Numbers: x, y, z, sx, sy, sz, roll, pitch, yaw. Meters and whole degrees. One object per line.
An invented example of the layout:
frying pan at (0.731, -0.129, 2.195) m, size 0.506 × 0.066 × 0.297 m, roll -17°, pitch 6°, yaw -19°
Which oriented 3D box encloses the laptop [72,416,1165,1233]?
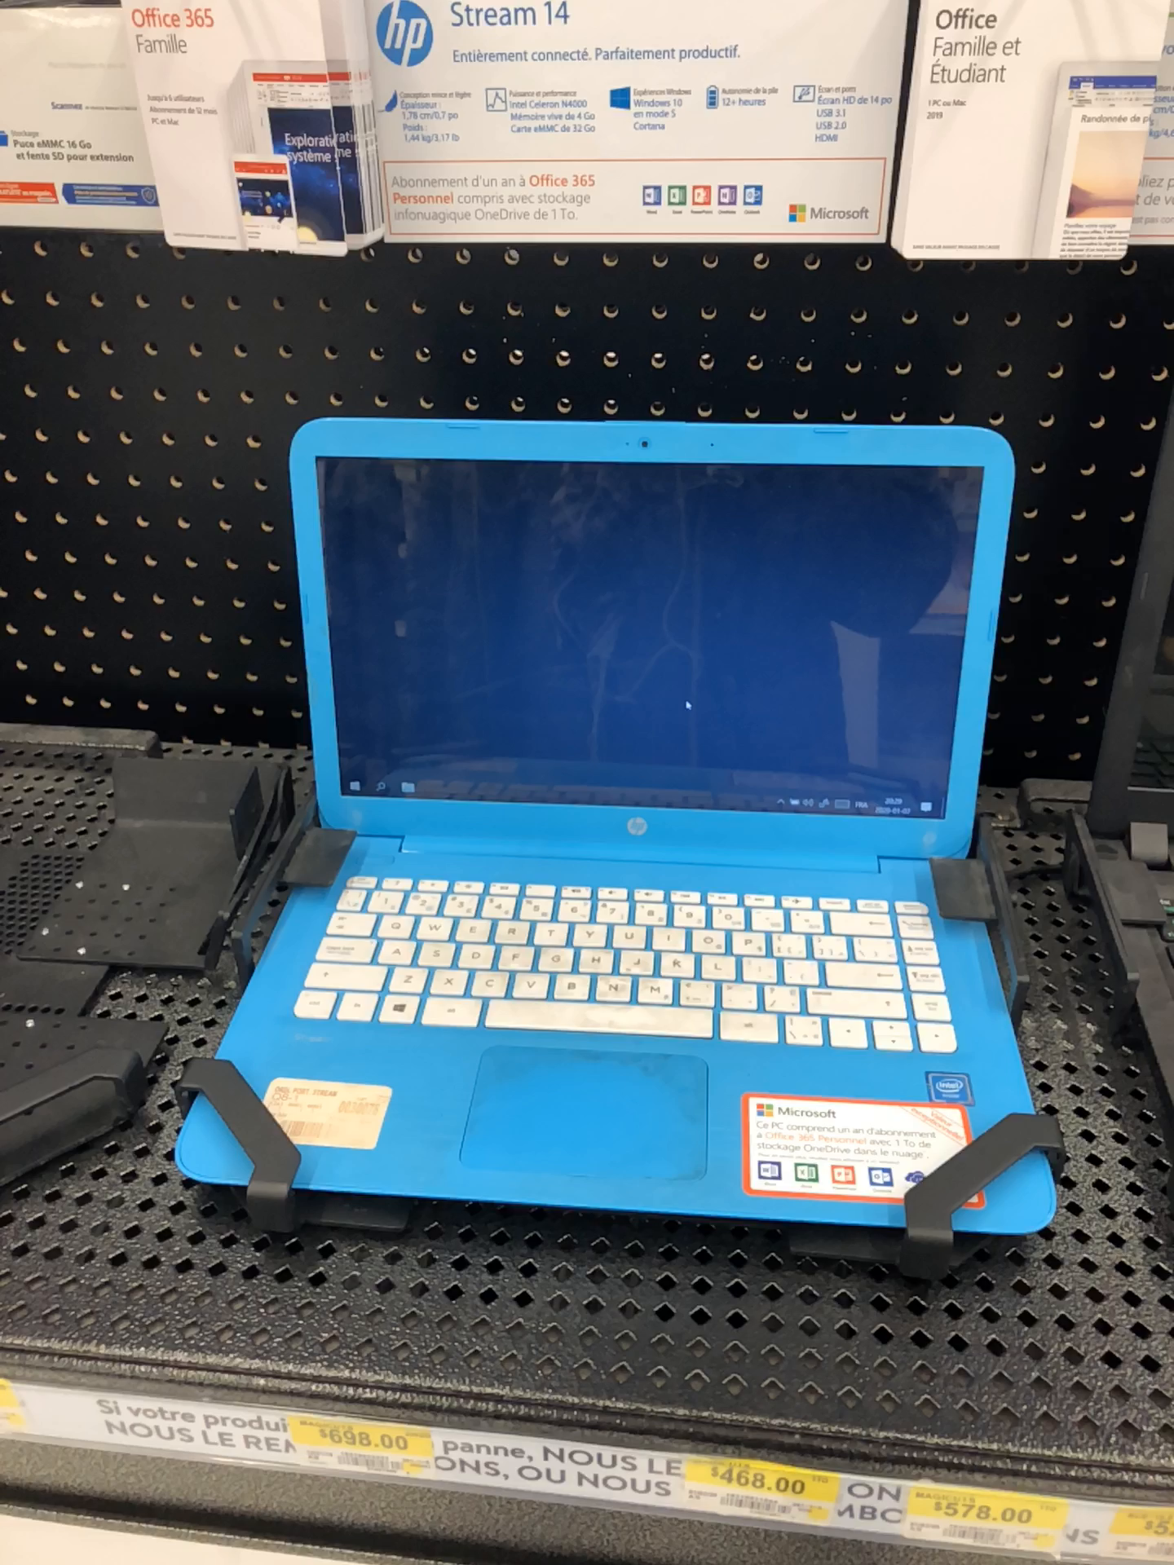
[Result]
laptop at (0.014, -0.007, 0.538) m, size 0.319 × 0.197 × 0.270 m, roll 2°, pitch 34°, yaw 6°
